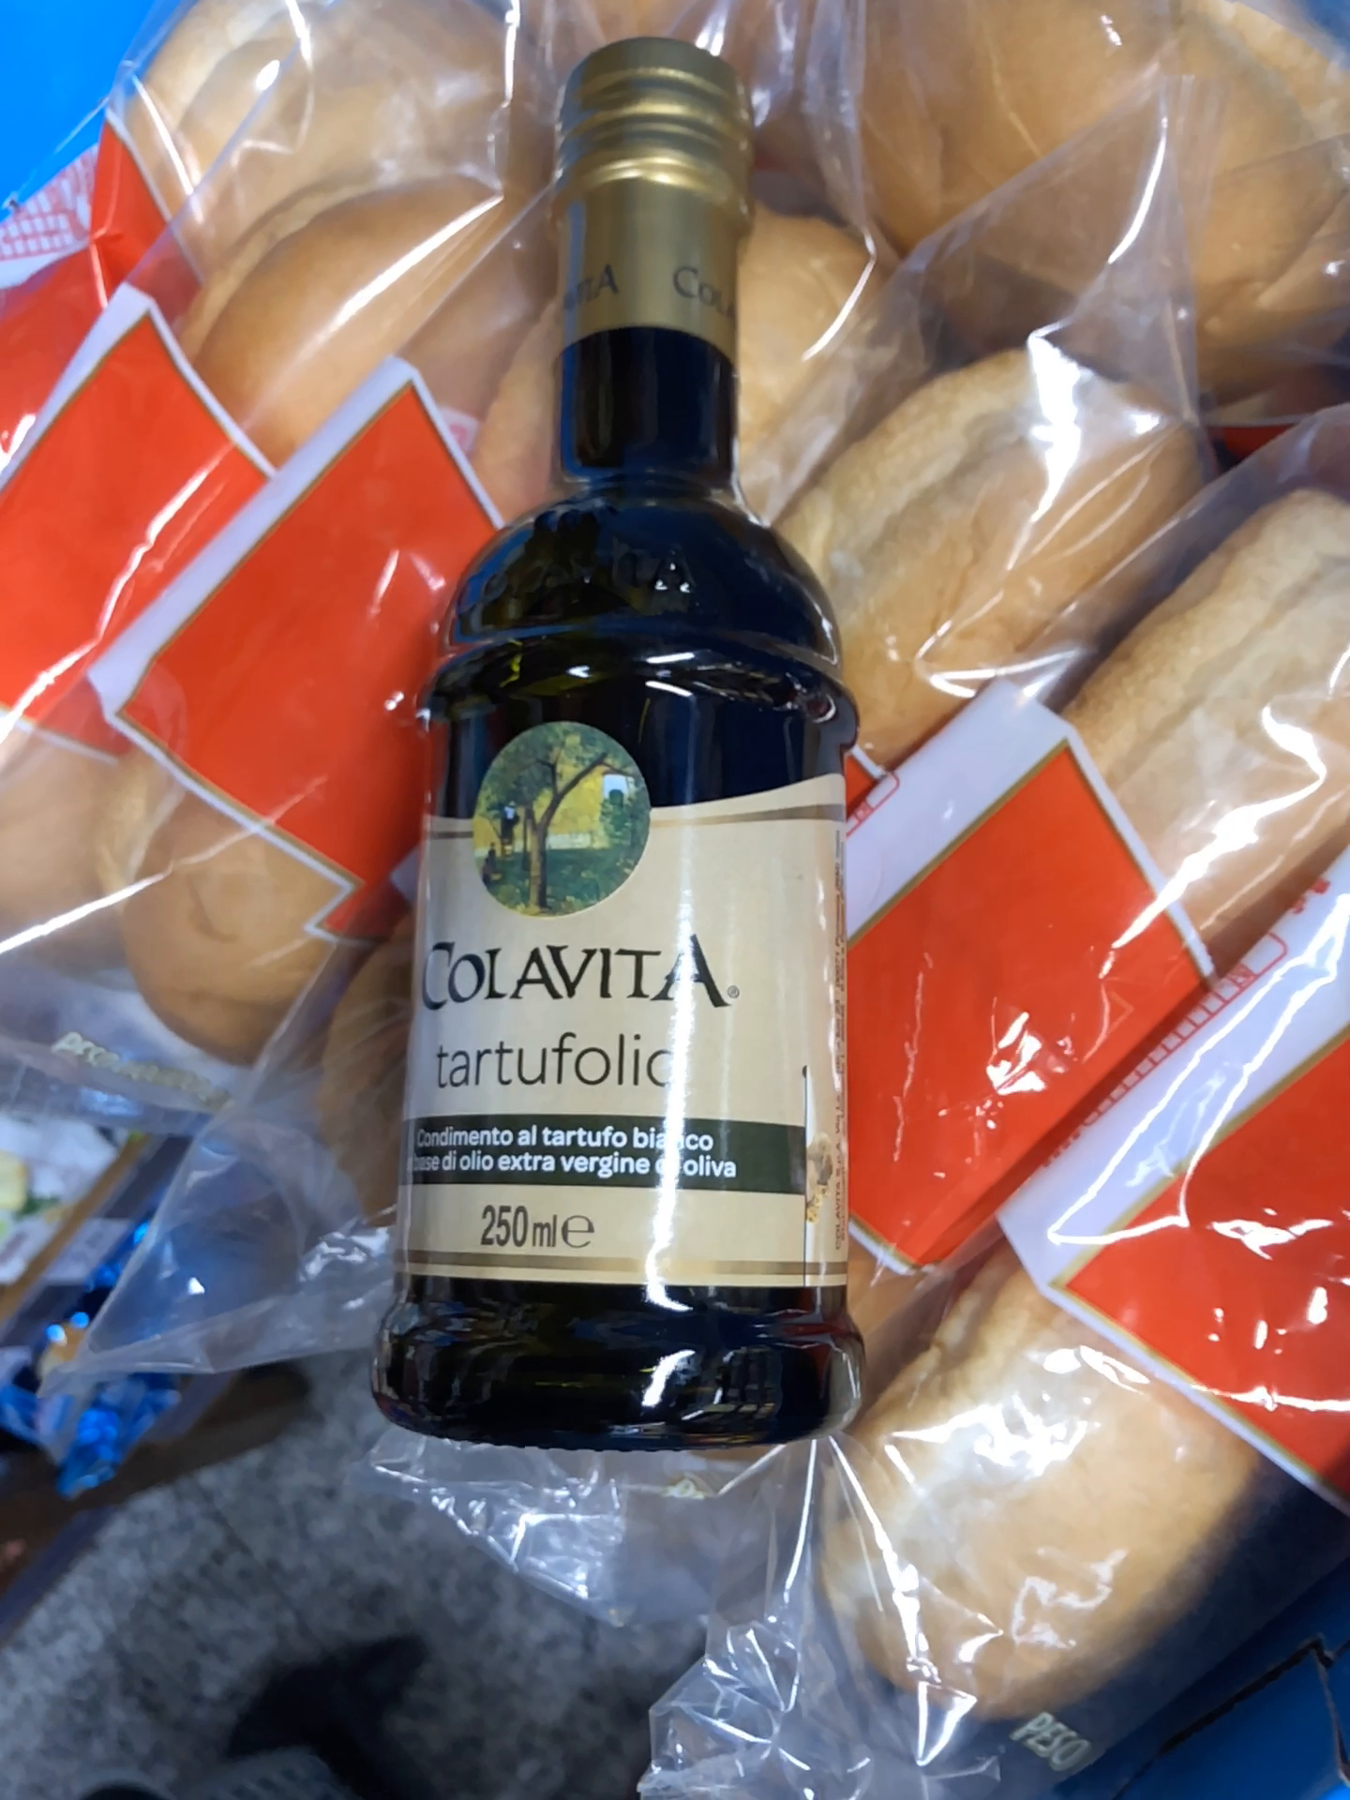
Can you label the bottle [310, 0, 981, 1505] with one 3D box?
[{"bbox_3d":[-0.002,-0.035,0.212,0.070,0.060,0.210,-4,81,19],"label":"bottle"}]
